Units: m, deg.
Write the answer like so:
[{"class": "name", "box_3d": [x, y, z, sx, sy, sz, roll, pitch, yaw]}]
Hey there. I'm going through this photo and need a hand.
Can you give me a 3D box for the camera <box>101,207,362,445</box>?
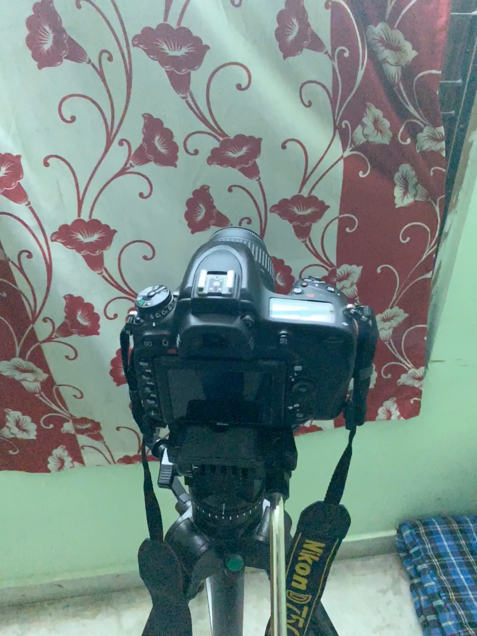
[{"class": "camera", "box_3d": [-0.002, -0.001, 0.345, 0.139, 0.112, 0.130, 1, 32, 2]}]
